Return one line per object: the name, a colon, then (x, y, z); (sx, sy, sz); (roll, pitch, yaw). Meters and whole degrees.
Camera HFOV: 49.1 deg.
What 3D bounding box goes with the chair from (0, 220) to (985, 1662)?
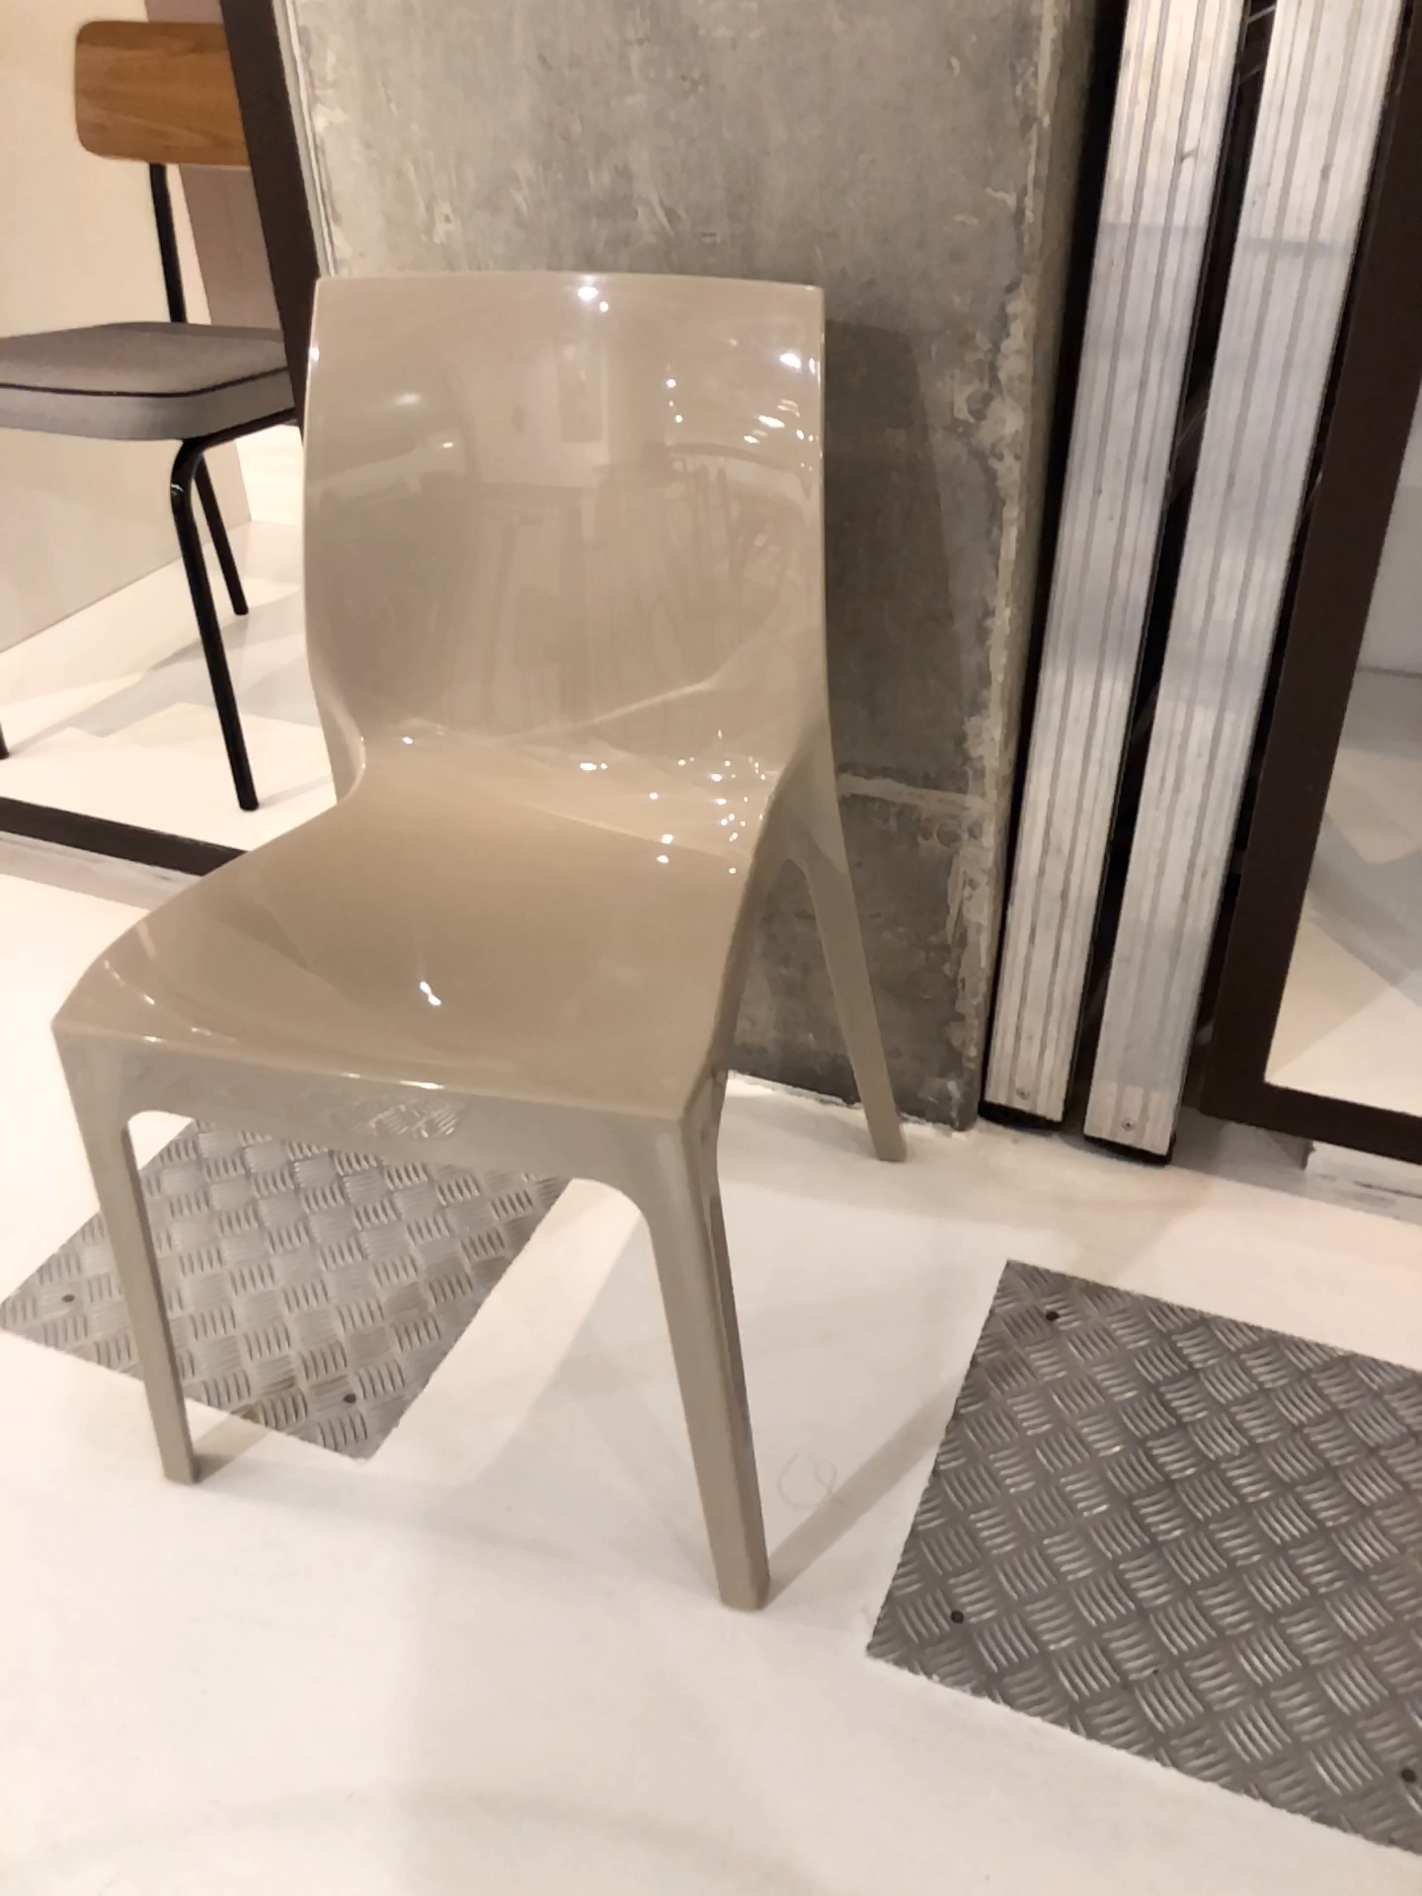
chair: (-0.139, -0.032, 1.149); (0.550, 0.824, 0.564); (8, 35, 14)
